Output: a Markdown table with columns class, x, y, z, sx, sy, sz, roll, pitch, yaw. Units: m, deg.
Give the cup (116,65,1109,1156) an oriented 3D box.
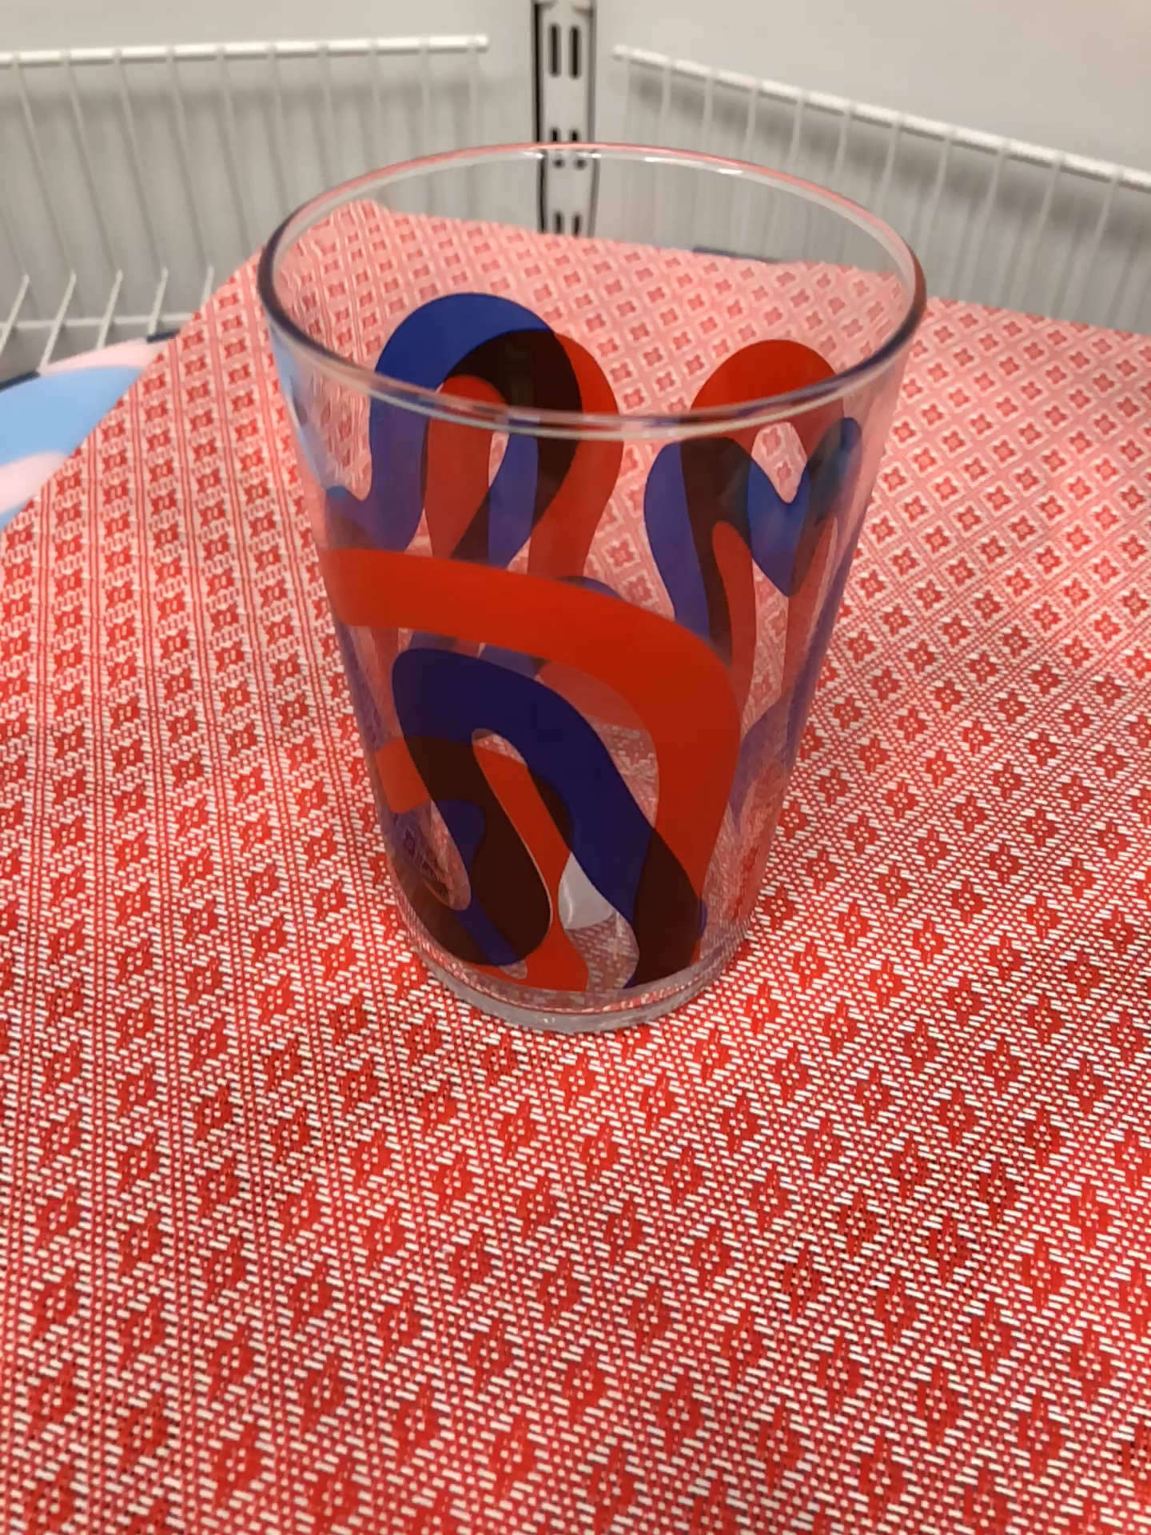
| class | x | y | z | sx | sy | sz | roll | pitch | yaw |
| --- | --- | --- | --- | --- | --- | --- | --- | --- | --- |
| cup | 0.007 | -0.027 | 0.204 | 0.090 | 0.120 | 0.090 | 0 | 44 | 0 |
